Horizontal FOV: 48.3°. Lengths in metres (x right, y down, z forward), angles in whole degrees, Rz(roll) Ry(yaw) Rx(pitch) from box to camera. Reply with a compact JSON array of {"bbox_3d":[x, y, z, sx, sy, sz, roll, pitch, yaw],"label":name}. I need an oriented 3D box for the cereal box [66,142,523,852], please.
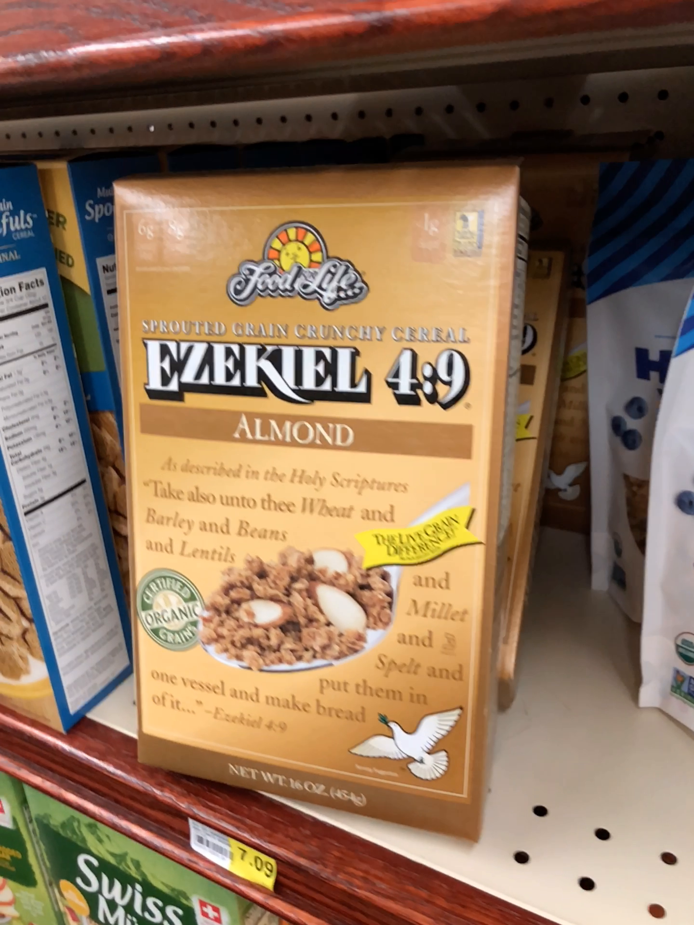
[{"bbox_3d":[-0.017,0.009,0.281,0.140,0.220,0.060,4,12,17],"label":"cereal box"}]
